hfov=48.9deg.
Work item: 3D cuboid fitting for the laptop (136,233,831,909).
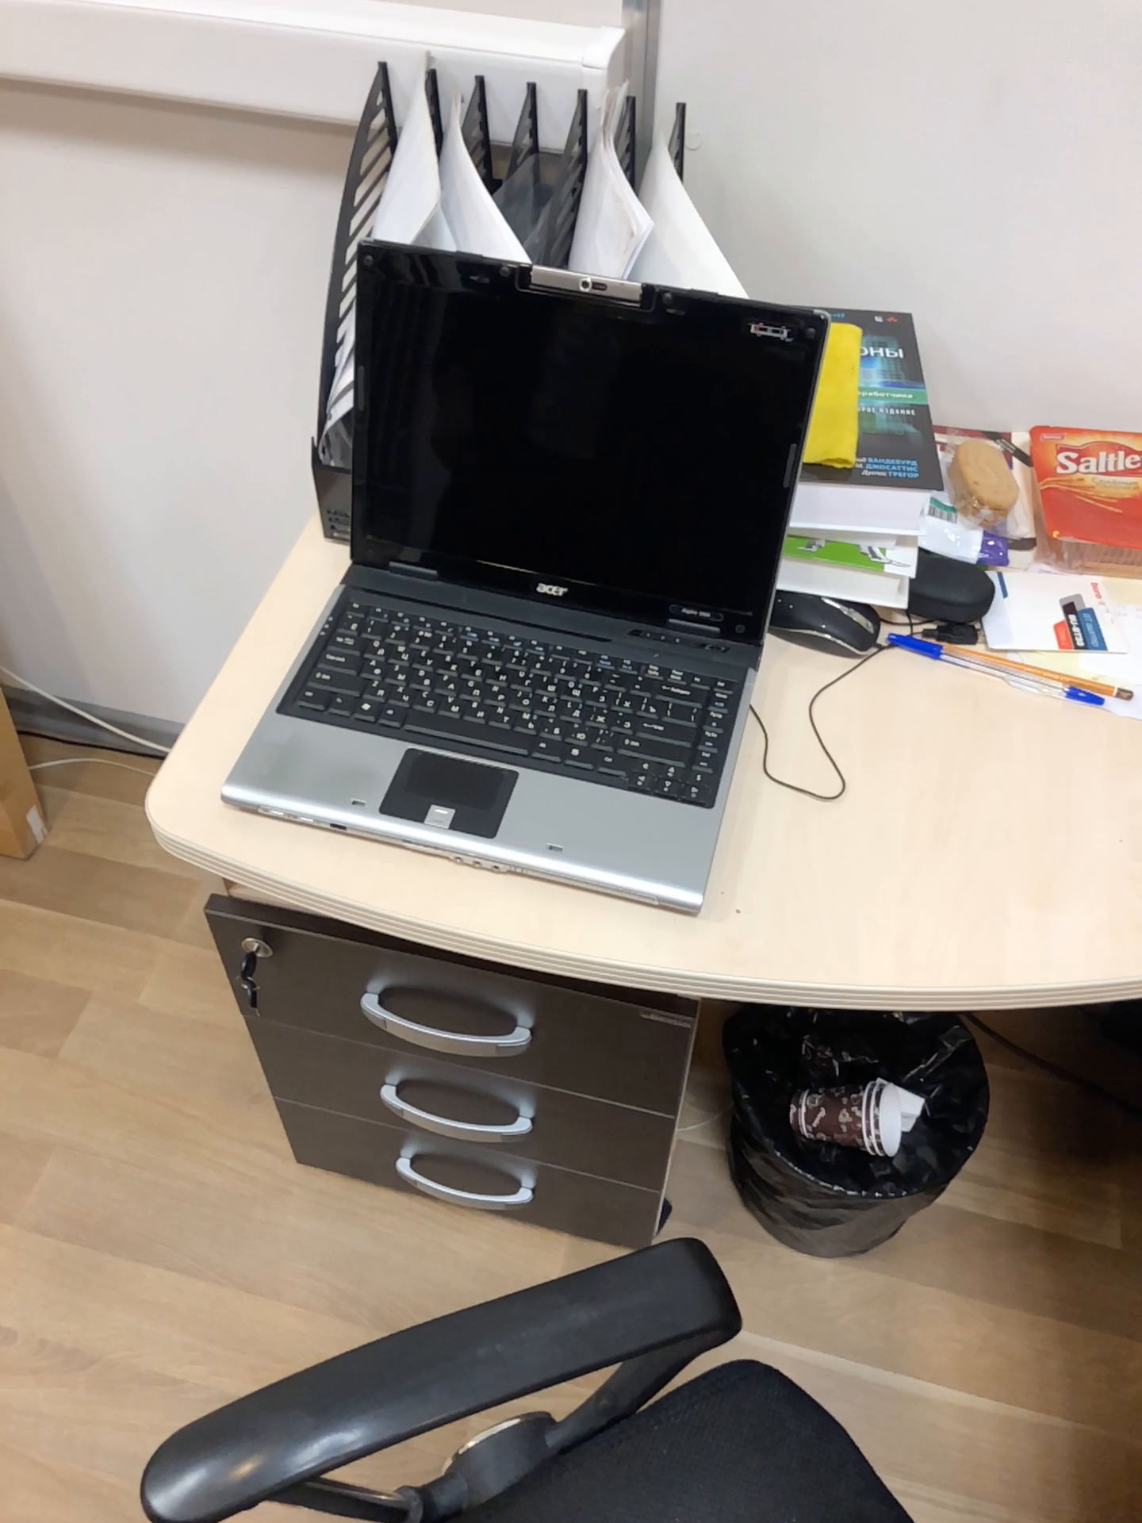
[{"bbox_3d":[-0.033,-0.136,0.822,0.325,0.219,0.325,12,52,9],"label":"laptop"}]
